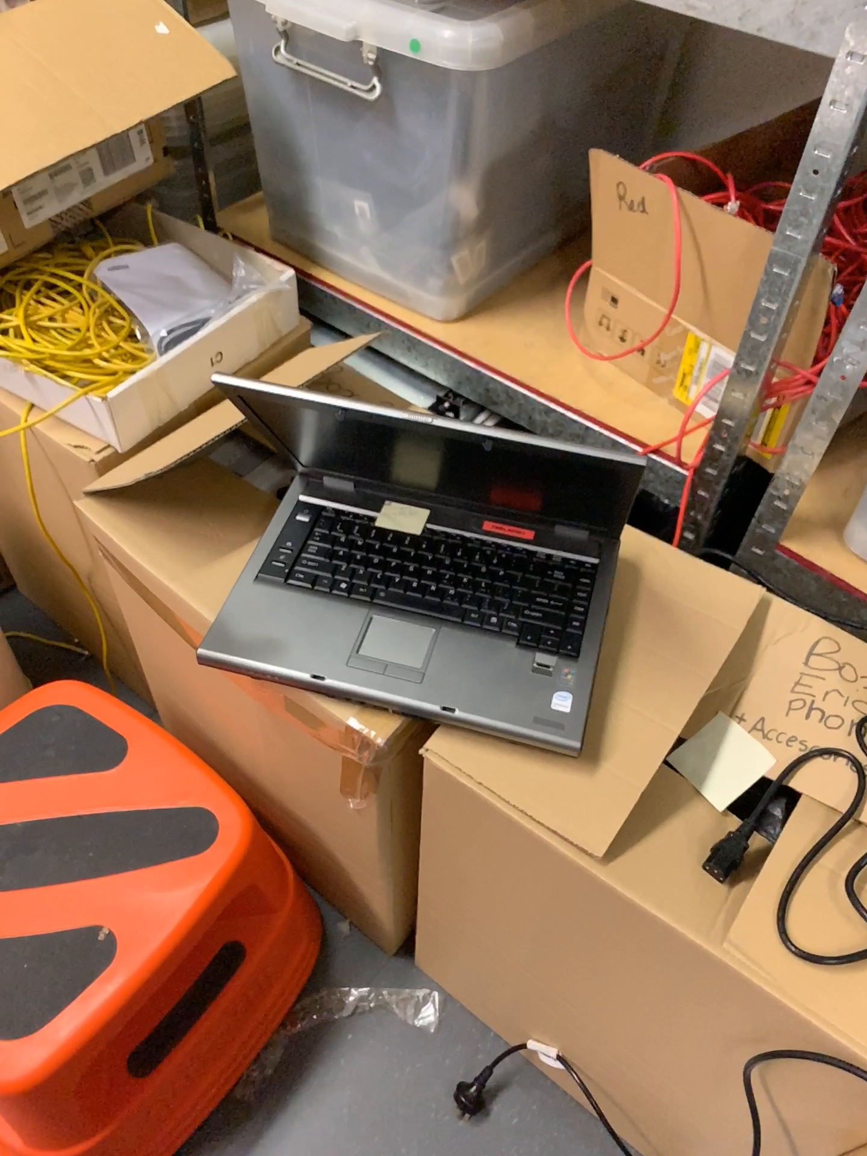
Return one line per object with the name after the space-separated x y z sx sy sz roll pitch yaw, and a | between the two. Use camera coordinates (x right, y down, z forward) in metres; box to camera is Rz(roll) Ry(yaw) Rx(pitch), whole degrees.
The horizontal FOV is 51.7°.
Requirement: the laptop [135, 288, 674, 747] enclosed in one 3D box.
-0.011 -0.061 0.785 0.360 0.238 0.263 12 48 10 | laptop
